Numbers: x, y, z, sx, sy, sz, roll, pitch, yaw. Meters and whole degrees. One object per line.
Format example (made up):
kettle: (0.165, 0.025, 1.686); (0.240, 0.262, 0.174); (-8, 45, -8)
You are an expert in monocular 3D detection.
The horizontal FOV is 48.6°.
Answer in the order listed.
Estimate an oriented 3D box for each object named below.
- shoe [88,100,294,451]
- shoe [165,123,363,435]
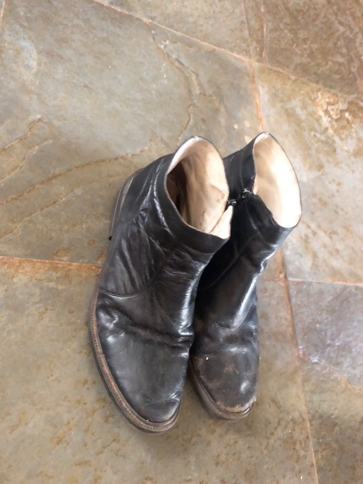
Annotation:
shoe: (-0.008, 0.036, 0.363); (0.100, 0.159, 0.251); (9, 66, -26)
shoe: (0.076, 0.042, 0.402); (0.100, 0.159, 0.251); (3, 69, -28)
